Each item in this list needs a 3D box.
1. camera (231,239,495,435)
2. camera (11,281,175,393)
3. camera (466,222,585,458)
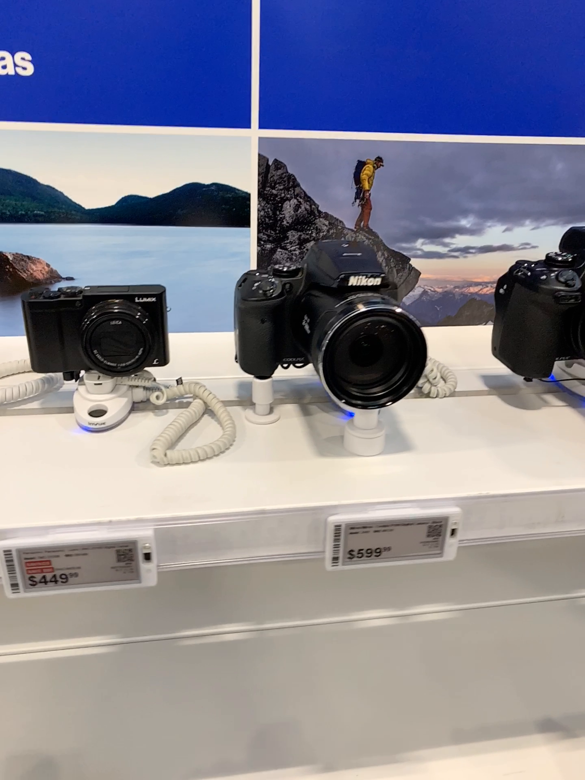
[{"bbox_3d":[0.040,-0.051,0.466,0.160,0.099,0.151,-3,25,-9],"label":"camera"},{"bbox_3d":[-0.150,-0.043,0.472,0.110,0.070,0.050,-3,25,-9],"label":"camera"},{"bbox_3d":[0.268,-0.057,0.476,0.160,0.109,0.221,-4,25,-10],"label":"camera"}]
